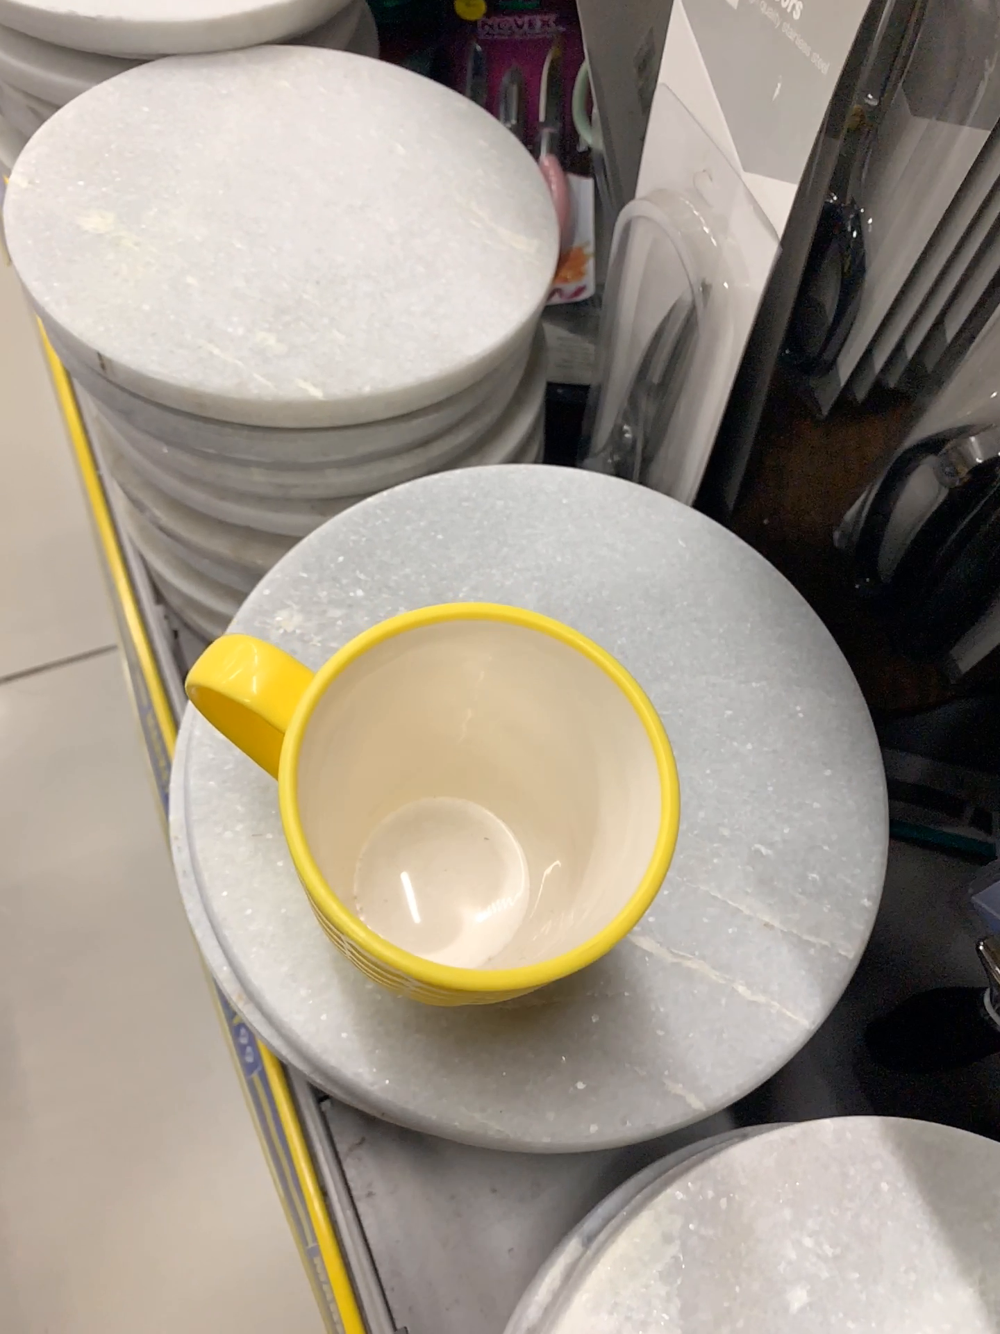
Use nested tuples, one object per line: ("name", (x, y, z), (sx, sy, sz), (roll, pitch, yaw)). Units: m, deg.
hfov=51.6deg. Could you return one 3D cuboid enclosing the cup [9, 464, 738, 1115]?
("cup", (-0.026, 0.034, 0.250), (0.120, 0.090, 0.090), (24, 62, 4))
